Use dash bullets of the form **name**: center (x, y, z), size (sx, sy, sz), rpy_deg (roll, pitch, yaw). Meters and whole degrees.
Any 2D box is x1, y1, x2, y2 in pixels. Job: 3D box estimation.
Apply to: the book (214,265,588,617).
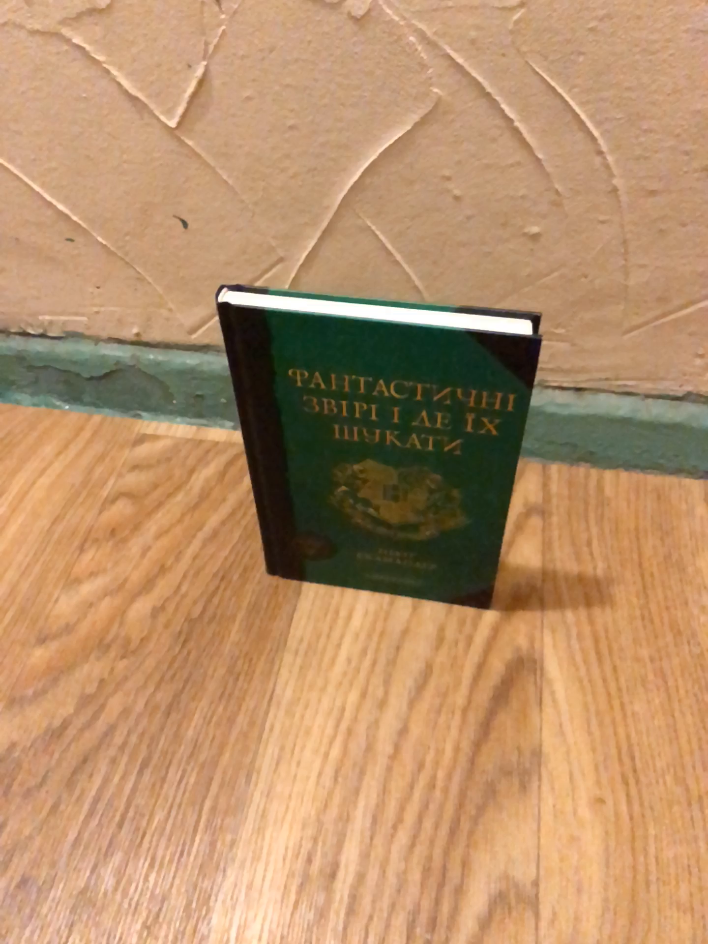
- **book**: center (0.021, -0.003, 0.386), size (0.148, 0.196, 0.024), rpy_deg (8, 48, 9)
